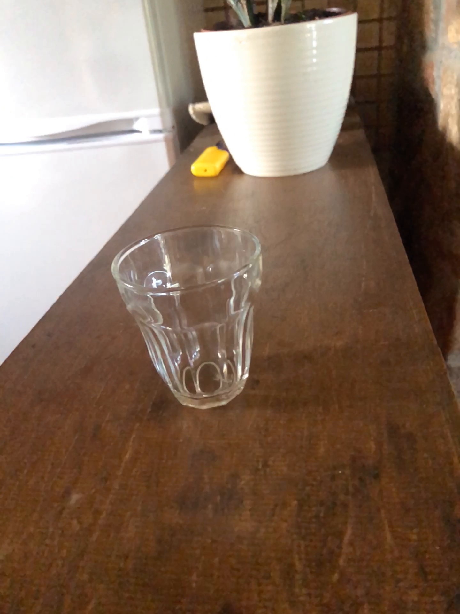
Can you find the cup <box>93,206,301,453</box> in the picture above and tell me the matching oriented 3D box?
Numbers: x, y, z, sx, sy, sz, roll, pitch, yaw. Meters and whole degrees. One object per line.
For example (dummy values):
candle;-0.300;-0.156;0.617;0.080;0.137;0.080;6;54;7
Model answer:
cup;-0.017;0.005;0.258;0.070;0.080;0.080;-18;31;-19
